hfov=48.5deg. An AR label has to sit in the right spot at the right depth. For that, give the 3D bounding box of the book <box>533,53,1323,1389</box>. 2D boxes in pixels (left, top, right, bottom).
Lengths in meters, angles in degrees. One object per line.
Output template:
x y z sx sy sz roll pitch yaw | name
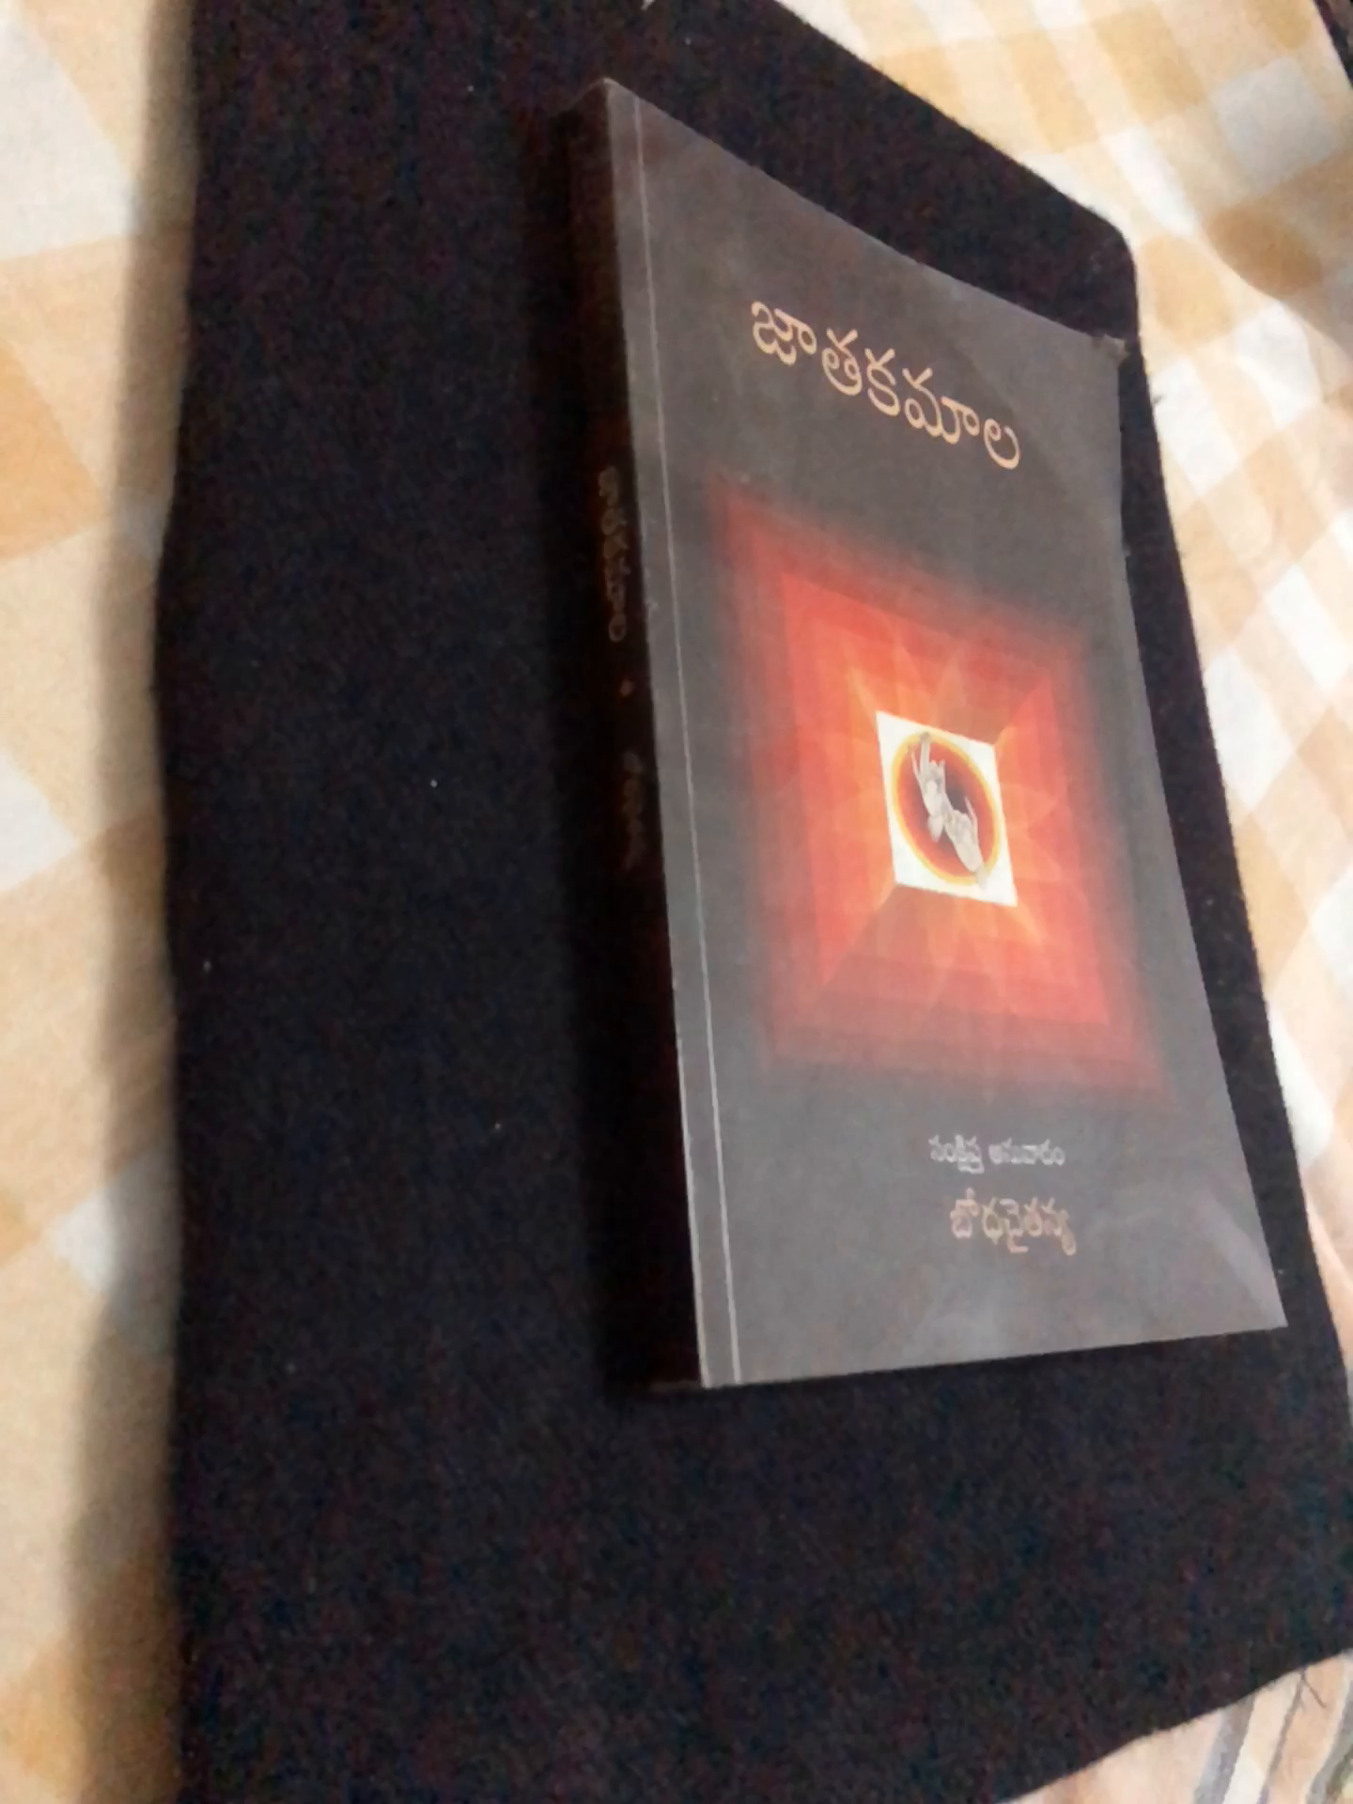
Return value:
0.046 -0.030 0.266 0.141 0.020 0.210 6 72 -33 | book
